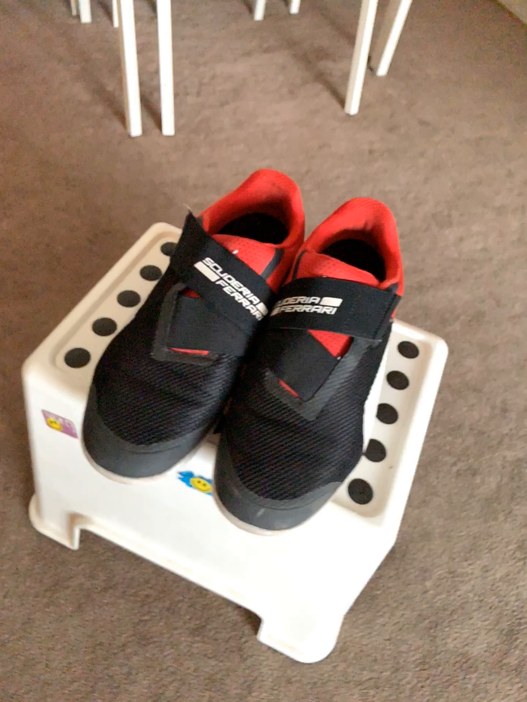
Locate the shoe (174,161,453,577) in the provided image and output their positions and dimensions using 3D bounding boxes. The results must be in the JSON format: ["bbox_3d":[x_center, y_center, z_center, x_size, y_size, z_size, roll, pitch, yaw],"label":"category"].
[{"bbox_3d":[0.051,-0.009,0.414,0.110,0.089,0.302,22,53,5],"label":"shoe"}]

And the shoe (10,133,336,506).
[{"bbox_3d":[-0.048,-0.046,0.436,0.100,0.089,0.302,24,53,7],"label":"shoe"}]
